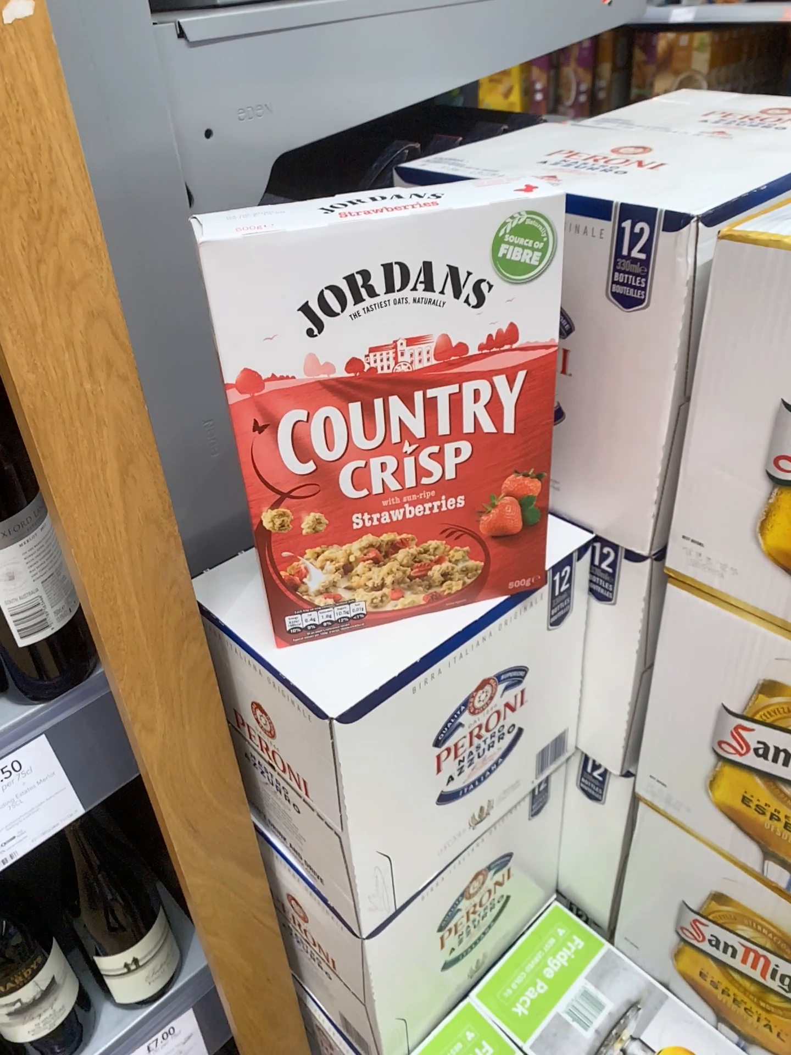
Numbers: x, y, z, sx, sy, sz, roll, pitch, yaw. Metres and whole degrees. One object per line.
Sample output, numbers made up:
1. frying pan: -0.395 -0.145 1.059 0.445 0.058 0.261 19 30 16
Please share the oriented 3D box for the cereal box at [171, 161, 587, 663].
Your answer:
1. cereal box: 0.000 -0.055 0.452 0.190 0.248 0.050 -12 35 -10
